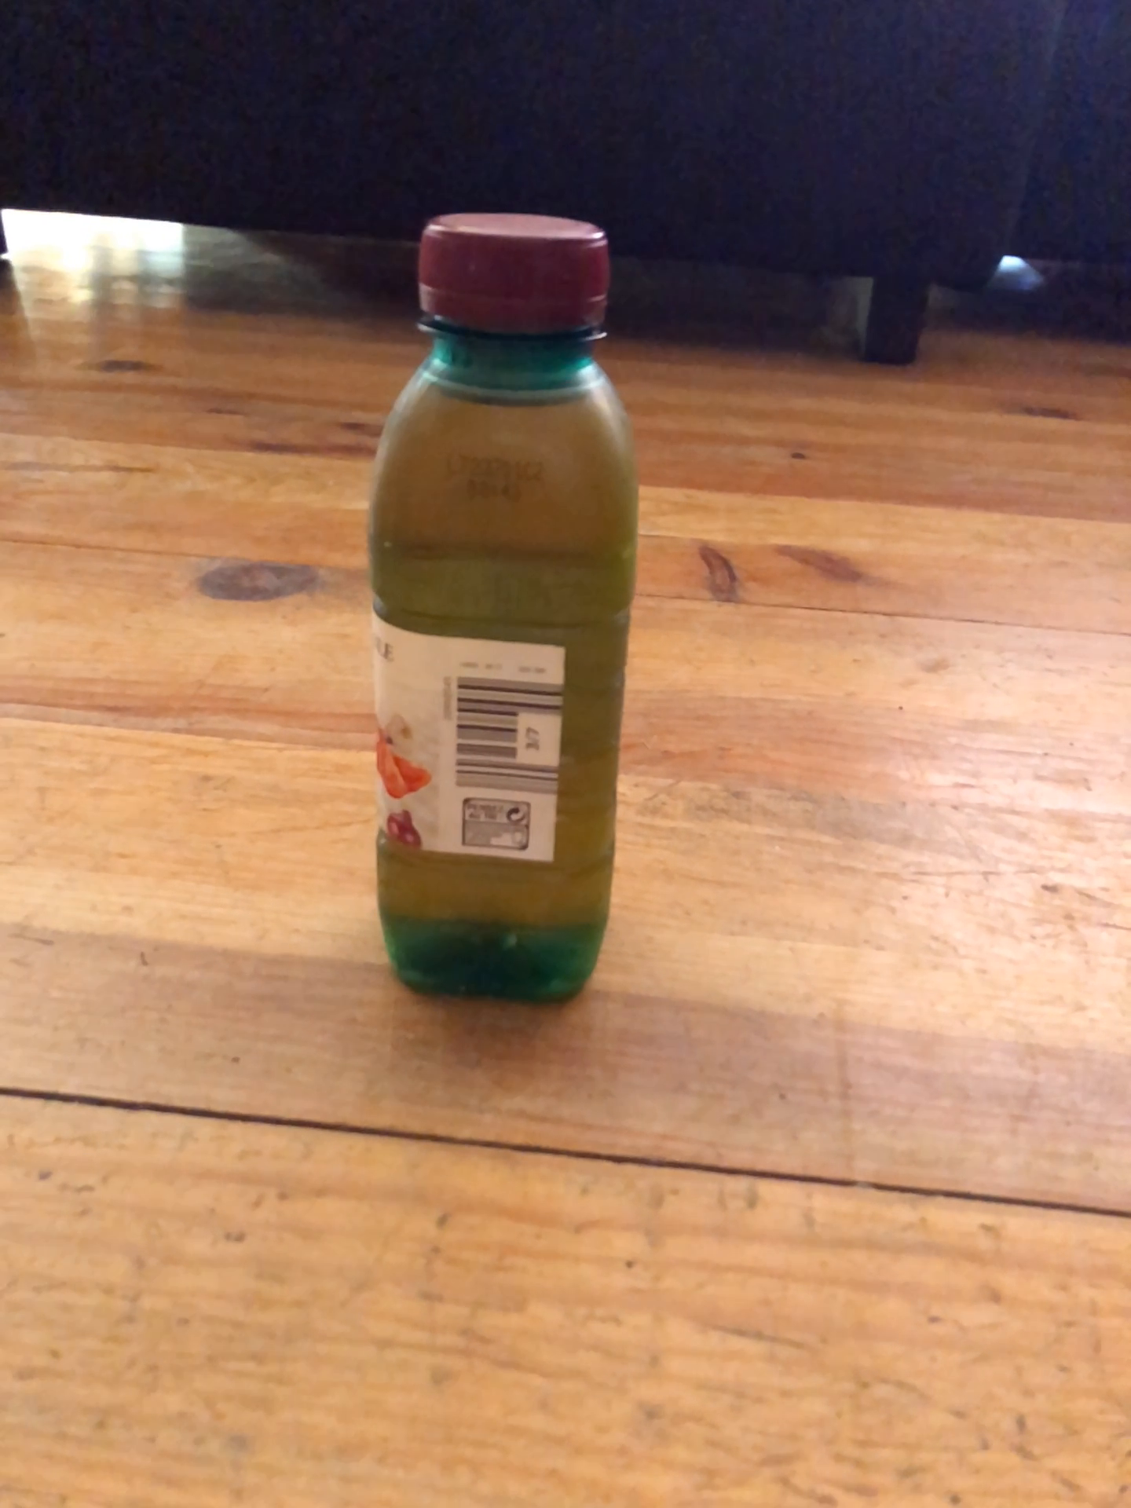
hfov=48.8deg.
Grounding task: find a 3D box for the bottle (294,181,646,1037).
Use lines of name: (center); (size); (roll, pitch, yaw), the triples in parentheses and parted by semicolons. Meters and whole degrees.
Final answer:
bottle: (-0.016, -0.025, 0.241); (0.050, 0.149, 0.060); (5, 28, 2)
